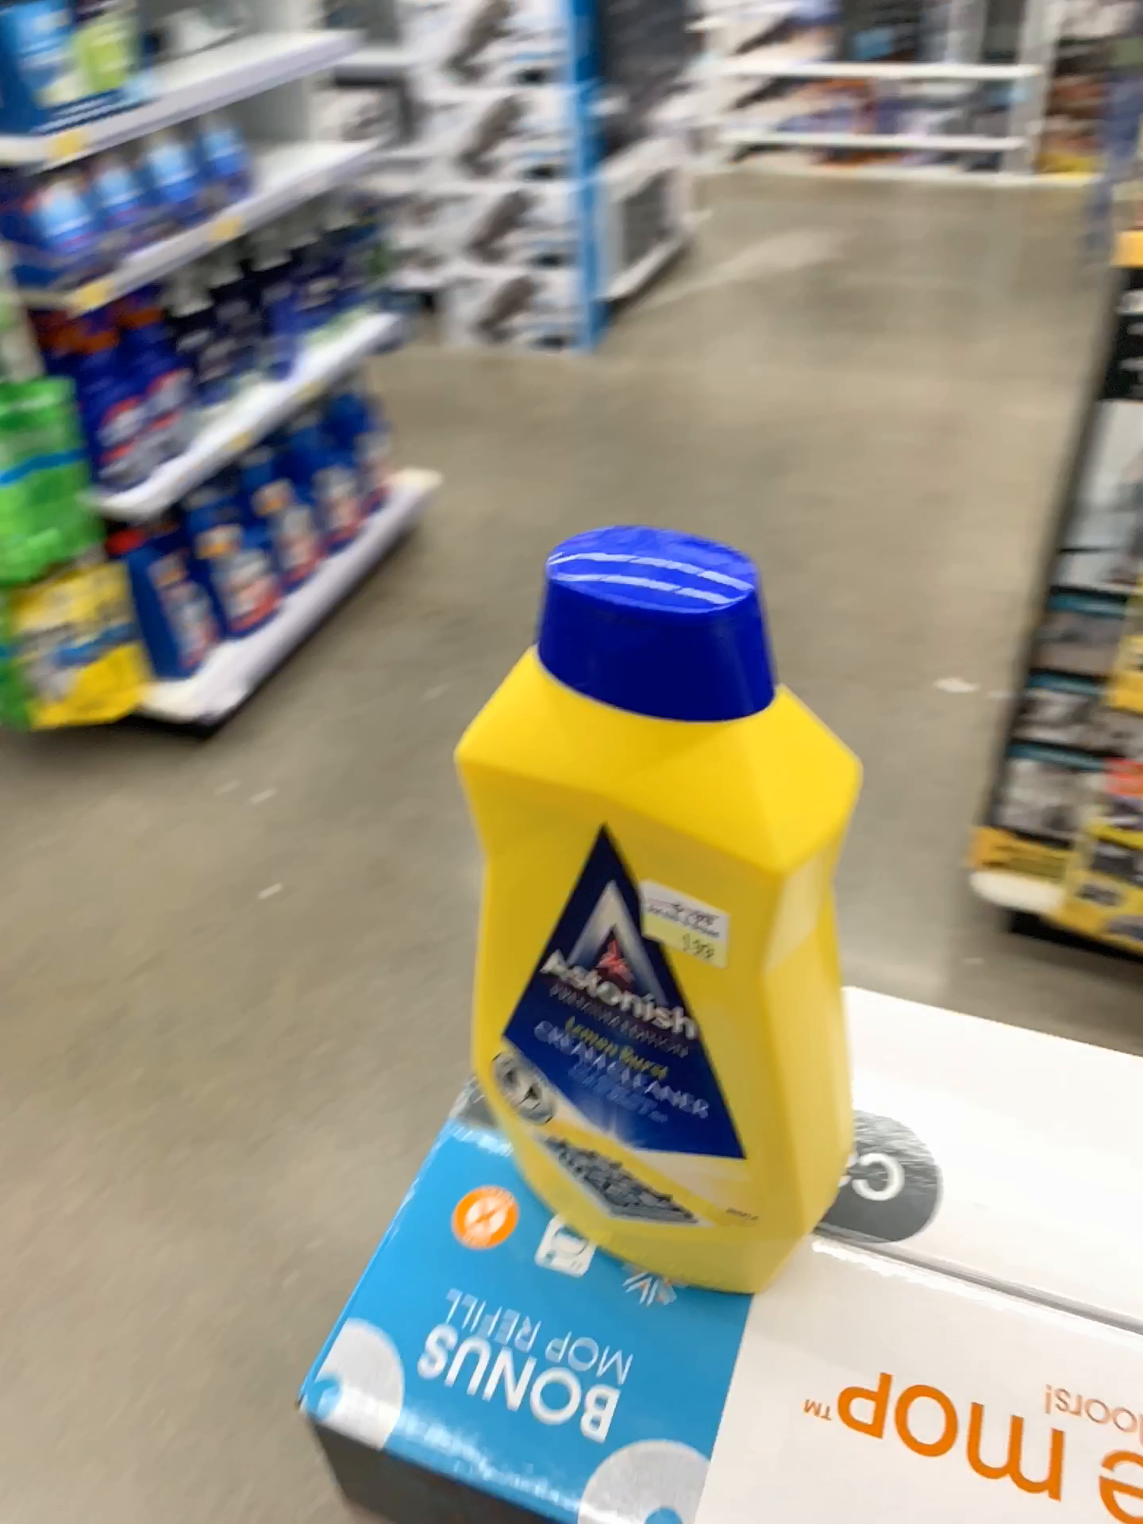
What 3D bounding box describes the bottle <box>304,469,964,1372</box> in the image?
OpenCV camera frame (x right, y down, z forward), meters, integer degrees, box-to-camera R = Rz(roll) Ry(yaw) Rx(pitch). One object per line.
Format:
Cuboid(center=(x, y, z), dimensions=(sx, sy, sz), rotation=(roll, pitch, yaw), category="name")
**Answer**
Cuboid(center=(0.015, 0.043, 0.269), dimensions=(0.100, 0.189, 0.060), rotation=(19, 44, 25), category="bottle")
